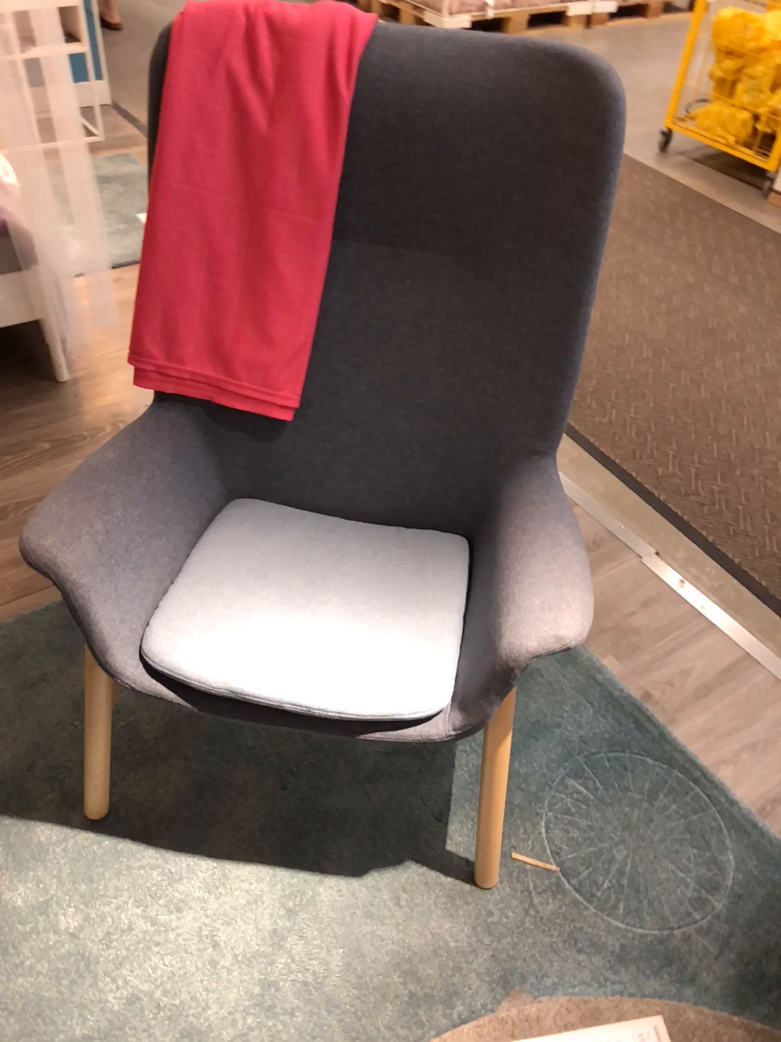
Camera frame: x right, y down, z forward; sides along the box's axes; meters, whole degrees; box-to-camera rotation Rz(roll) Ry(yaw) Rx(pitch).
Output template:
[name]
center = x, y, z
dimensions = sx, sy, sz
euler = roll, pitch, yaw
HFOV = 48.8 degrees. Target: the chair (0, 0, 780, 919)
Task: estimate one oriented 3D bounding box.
[chair]
center = -0.085, -0.080, 1.191
dimensions = 0.790, 0.996, 0.703
euler = 8, 42, 3
